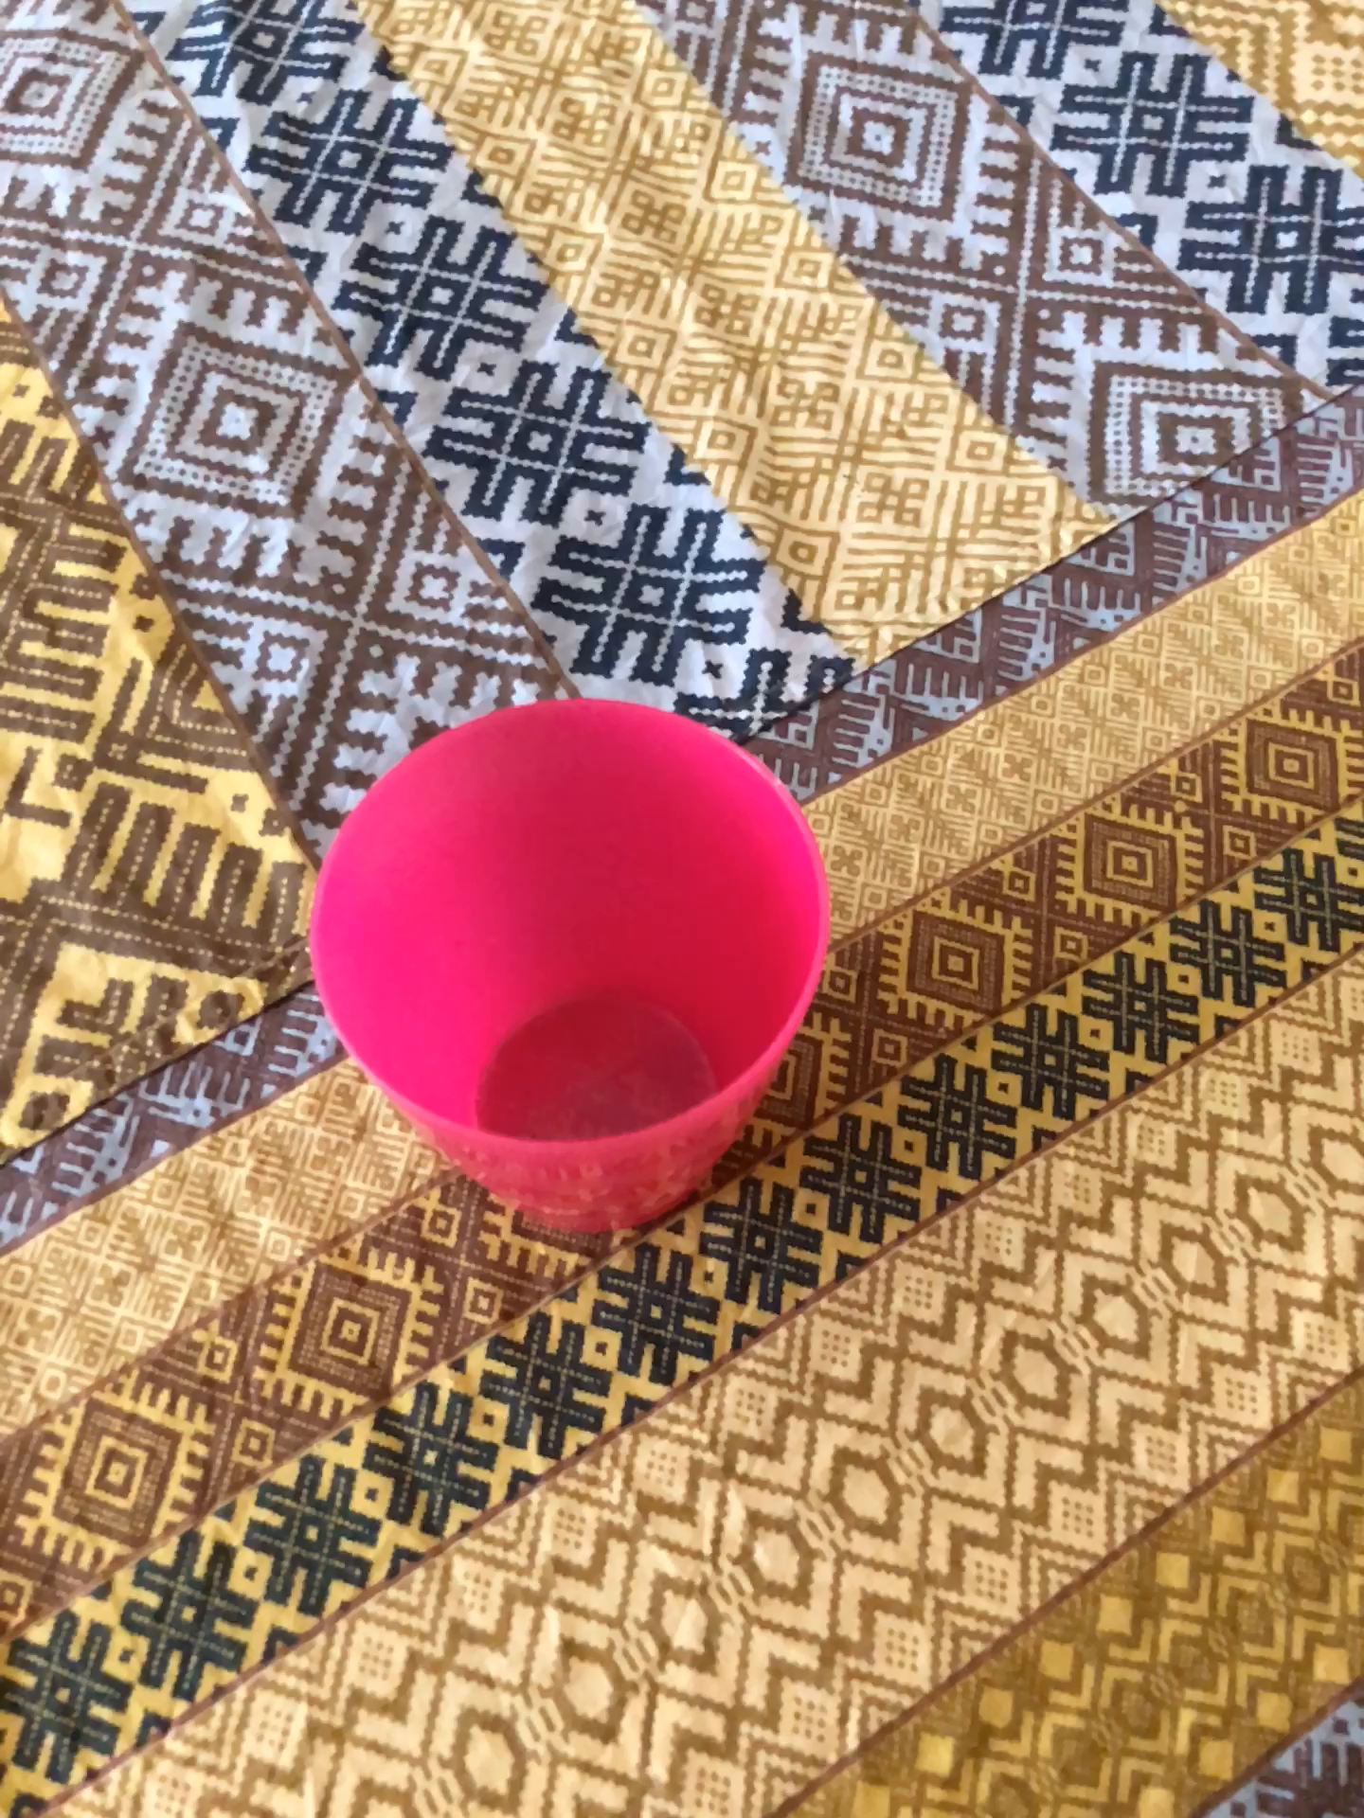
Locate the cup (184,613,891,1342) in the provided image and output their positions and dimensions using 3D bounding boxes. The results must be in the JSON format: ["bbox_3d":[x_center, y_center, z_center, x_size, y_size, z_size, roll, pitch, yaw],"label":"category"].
[{"bbox_3d":[-0.020,0.013,0.254,0.077,0.067,0.078,1,63,-2],"label":"cup"}]
